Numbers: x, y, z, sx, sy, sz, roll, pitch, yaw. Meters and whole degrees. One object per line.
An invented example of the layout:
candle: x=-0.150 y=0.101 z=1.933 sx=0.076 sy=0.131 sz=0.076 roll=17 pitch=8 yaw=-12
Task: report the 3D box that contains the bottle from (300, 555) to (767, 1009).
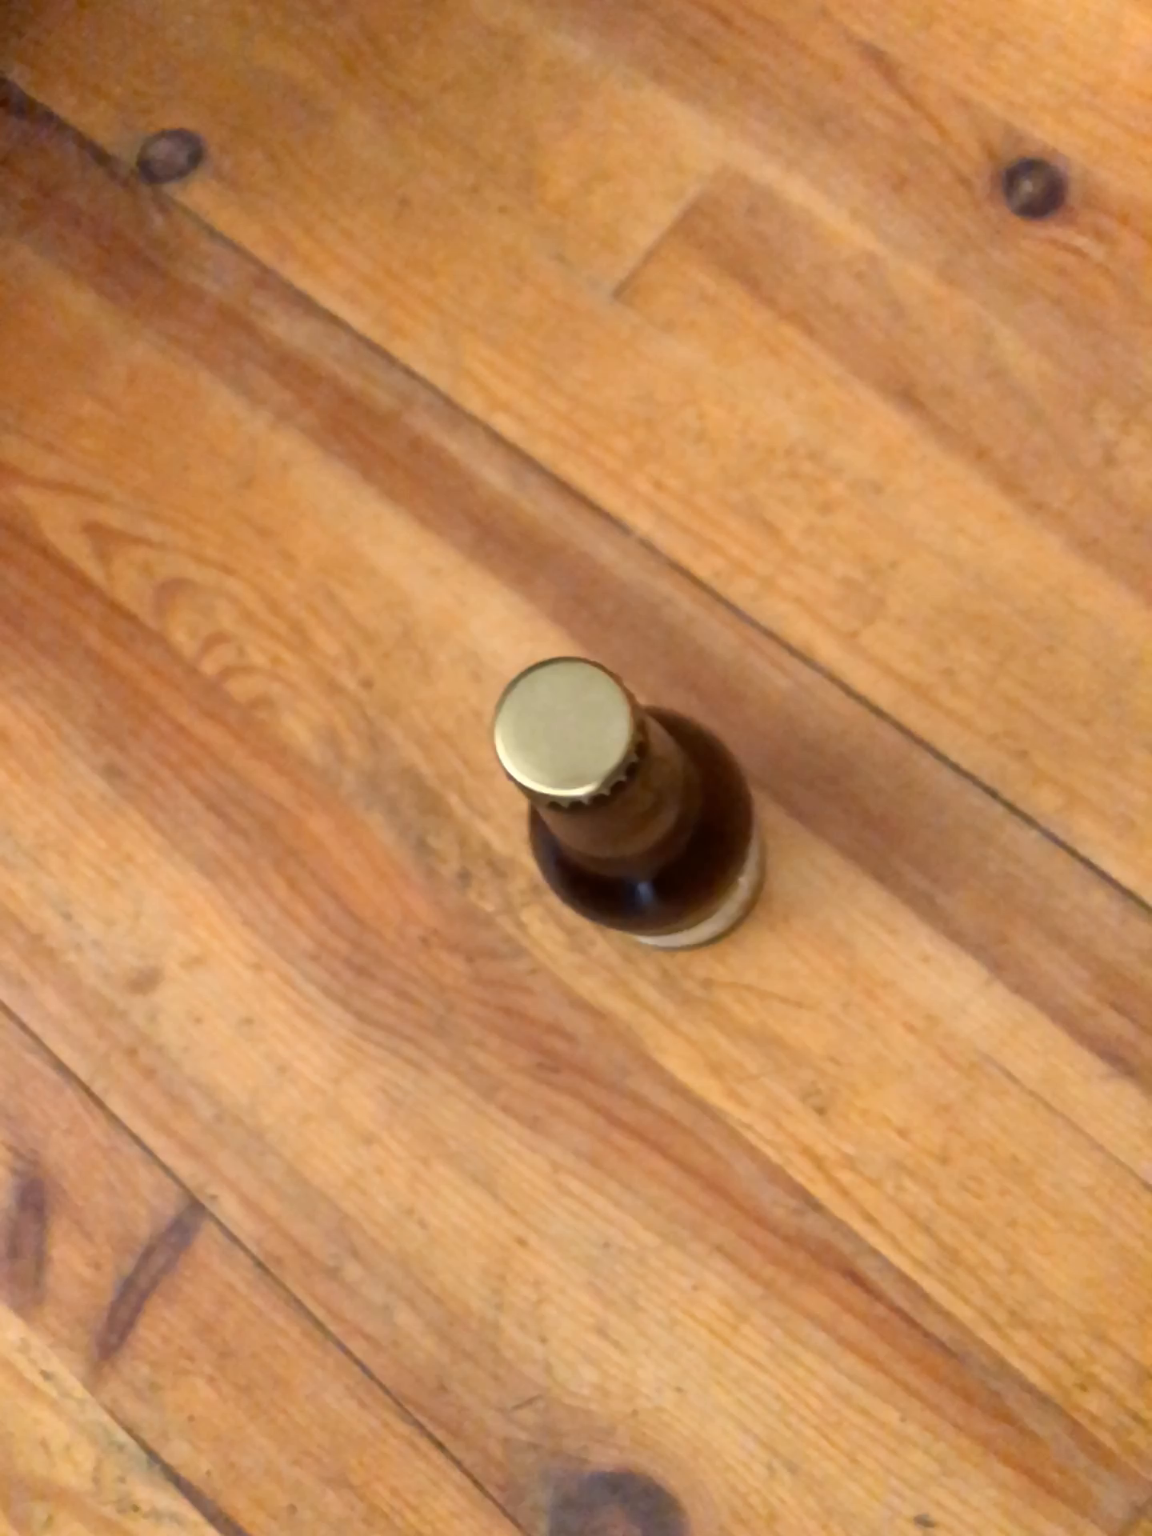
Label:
bottle: x=0.009 y=0.021 z=0.336 sx=0.070 sy=0.230 sz=0.070 roll=-2 pitch=78 yaw=9
